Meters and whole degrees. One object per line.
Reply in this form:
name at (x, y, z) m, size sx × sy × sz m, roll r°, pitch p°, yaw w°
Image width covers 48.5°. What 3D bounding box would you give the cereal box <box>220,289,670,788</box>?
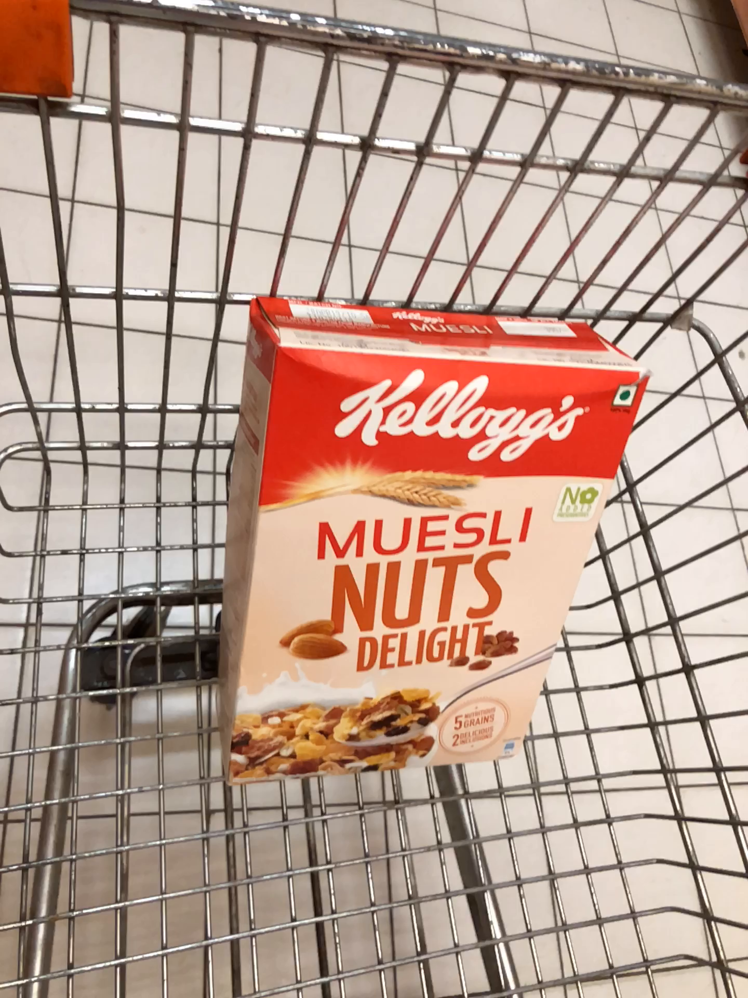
cereal box at (0.022, 0.030, 0.443) m, size 0.180 × 0.249 × 0.070 m, roll 1°, pitch 29°, yaw -18°
